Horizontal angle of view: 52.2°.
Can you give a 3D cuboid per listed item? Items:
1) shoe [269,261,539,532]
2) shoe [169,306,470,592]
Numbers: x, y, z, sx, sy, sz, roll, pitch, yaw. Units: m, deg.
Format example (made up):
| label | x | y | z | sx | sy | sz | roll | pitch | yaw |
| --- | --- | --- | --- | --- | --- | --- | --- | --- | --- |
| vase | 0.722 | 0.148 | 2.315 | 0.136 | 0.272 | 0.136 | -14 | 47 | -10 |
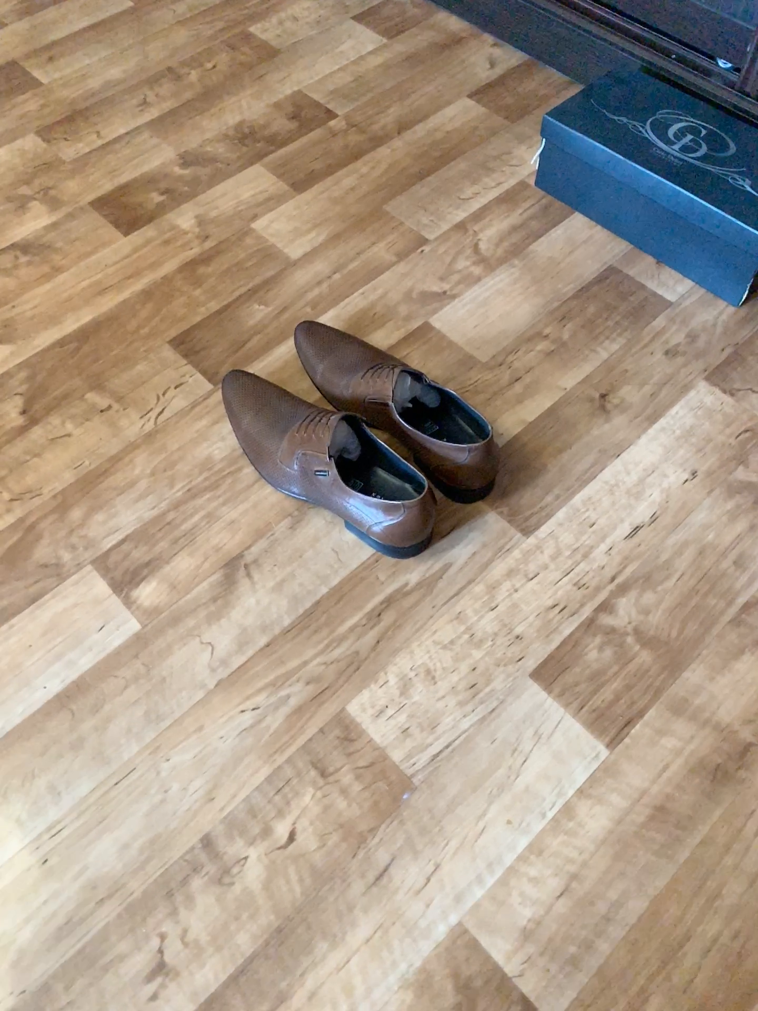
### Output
| label | x | y | z | sx | sy | sz | roll | pitch | yaw |
| --- | --- | --- | --- | --- | --- | --- | --- | --- | --- |
| shoe | 0.020 | -0.125 | 0.858 | 0.100 | 0.120 | 0.301 | -39 | 66 | -19 |
| shoe | -0.065 | -0.064 | 0.801 | 0.311 | 0.100 | 0.110 | 39 | 68 | 21 |
